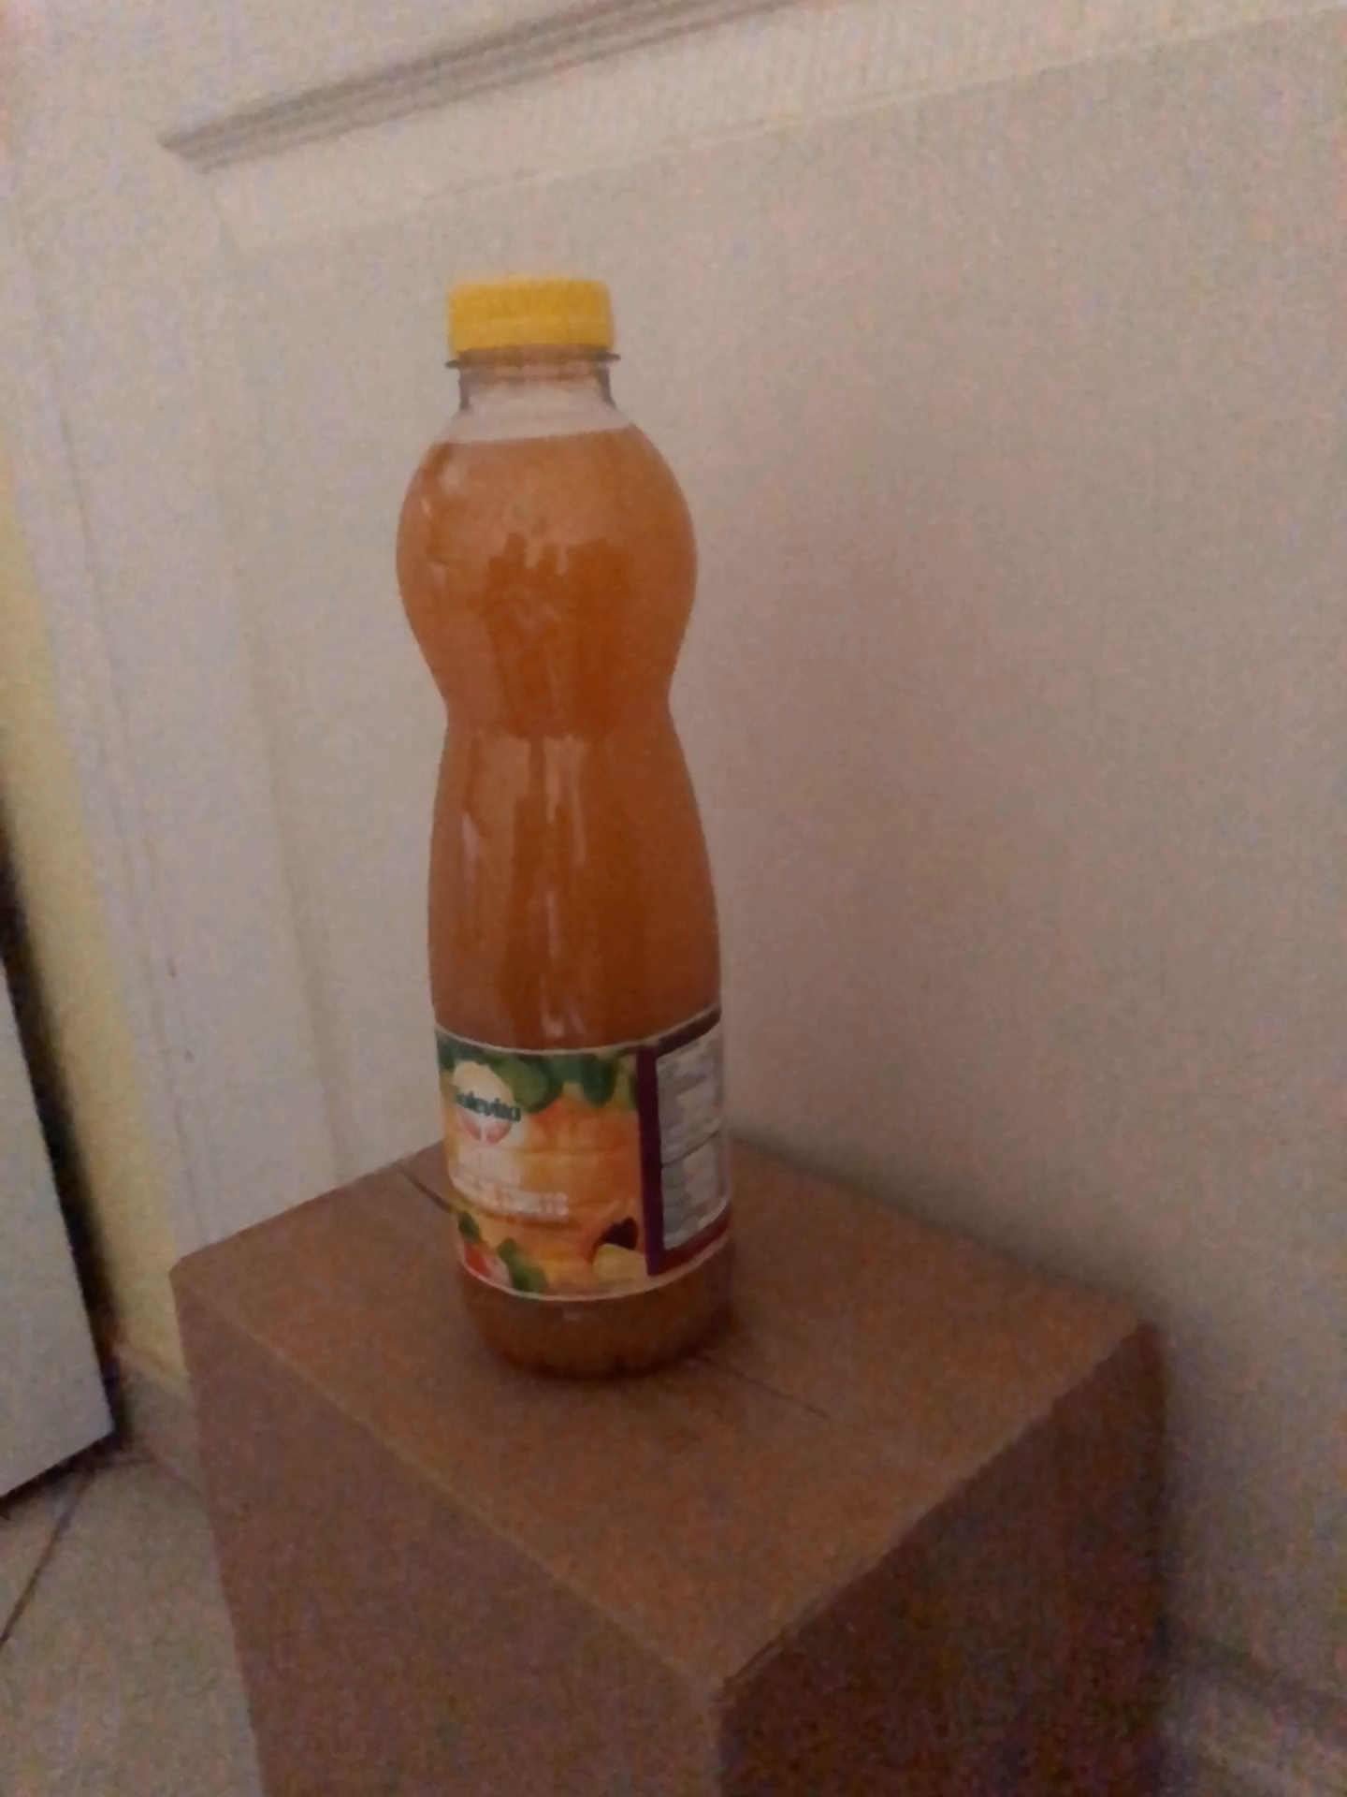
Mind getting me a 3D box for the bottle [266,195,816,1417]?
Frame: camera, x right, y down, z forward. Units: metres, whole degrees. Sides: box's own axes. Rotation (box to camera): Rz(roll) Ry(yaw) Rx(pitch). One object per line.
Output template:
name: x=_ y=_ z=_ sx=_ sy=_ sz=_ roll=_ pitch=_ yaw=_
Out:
bottle: x=-0.024 y=-0.020 z=0.379 sx=0.080 sy=0.279 sz=0.080 roll=-4 pitch=19 yaw=1
